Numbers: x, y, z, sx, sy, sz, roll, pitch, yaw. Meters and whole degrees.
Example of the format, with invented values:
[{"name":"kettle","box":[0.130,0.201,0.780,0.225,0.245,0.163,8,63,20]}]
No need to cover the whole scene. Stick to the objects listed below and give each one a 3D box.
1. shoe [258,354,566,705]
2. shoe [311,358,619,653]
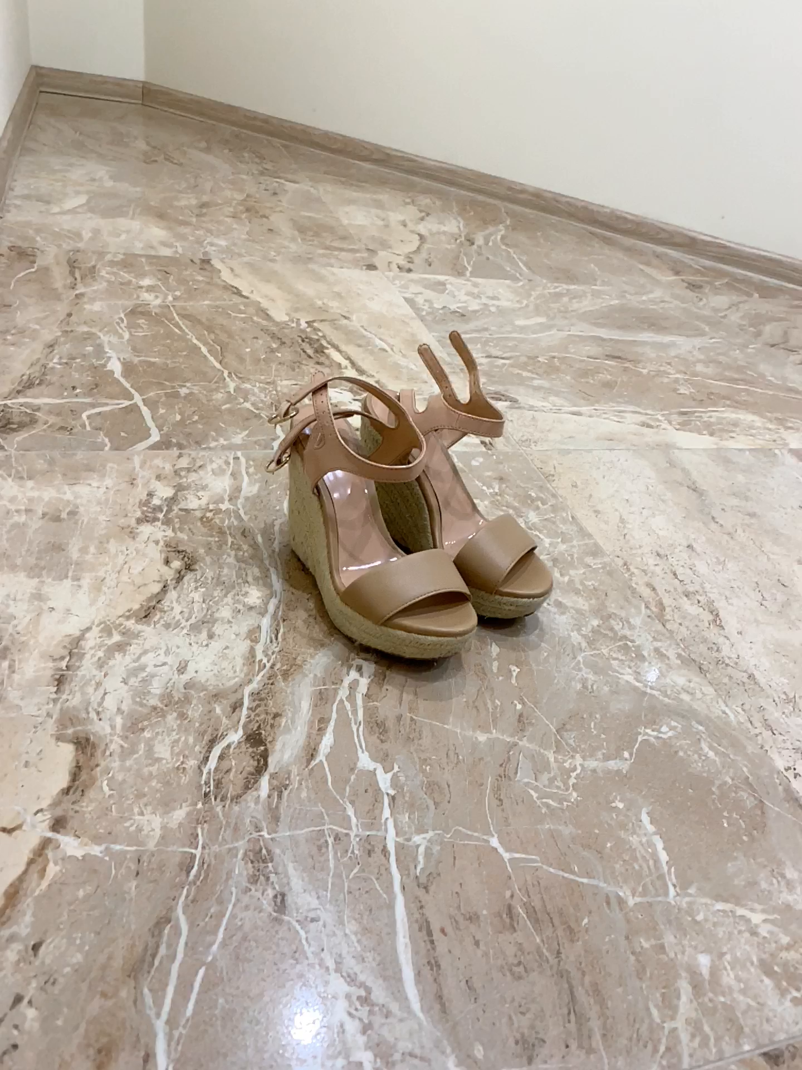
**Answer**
[{"name":"shoe","box":[-0.007,-0.014,0.596,0.090,0.149,0.211,-17,42,-35]},{"name":"shoe","box":[0.039,-0.032,0.647,0.210,0.129,0.090,33,39,30]}]
